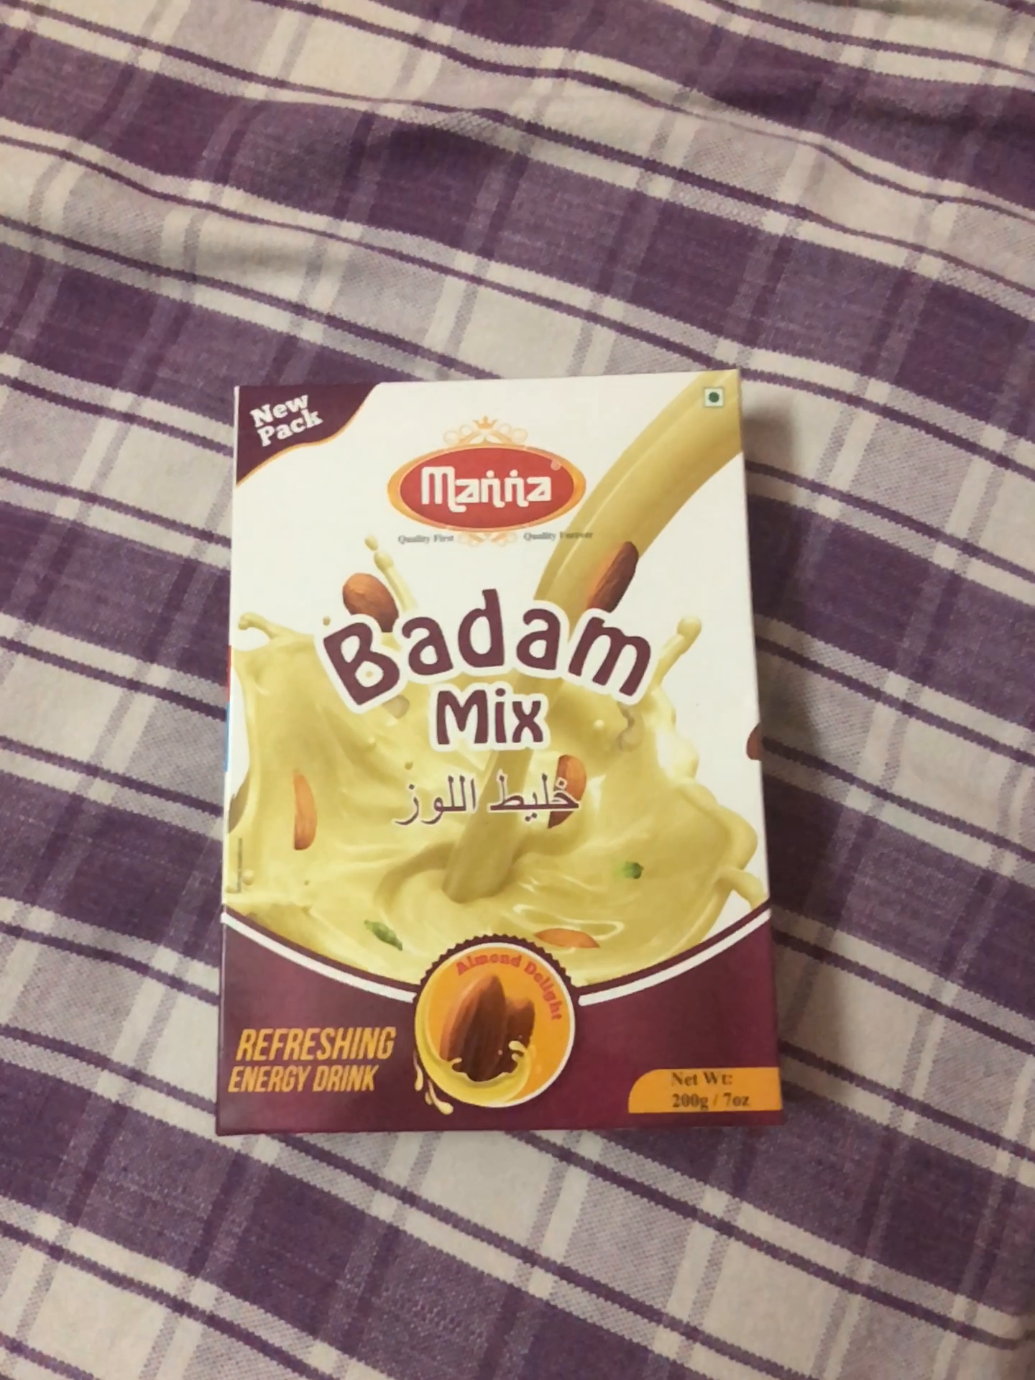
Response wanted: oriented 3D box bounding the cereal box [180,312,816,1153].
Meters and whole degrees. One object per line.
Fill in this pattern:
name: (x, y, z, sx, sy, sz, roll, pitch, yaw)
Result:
cereal box: (-0.008, 0.008, 0.277, 0.130, 0.050, 0.180, -3, 79, 0)
